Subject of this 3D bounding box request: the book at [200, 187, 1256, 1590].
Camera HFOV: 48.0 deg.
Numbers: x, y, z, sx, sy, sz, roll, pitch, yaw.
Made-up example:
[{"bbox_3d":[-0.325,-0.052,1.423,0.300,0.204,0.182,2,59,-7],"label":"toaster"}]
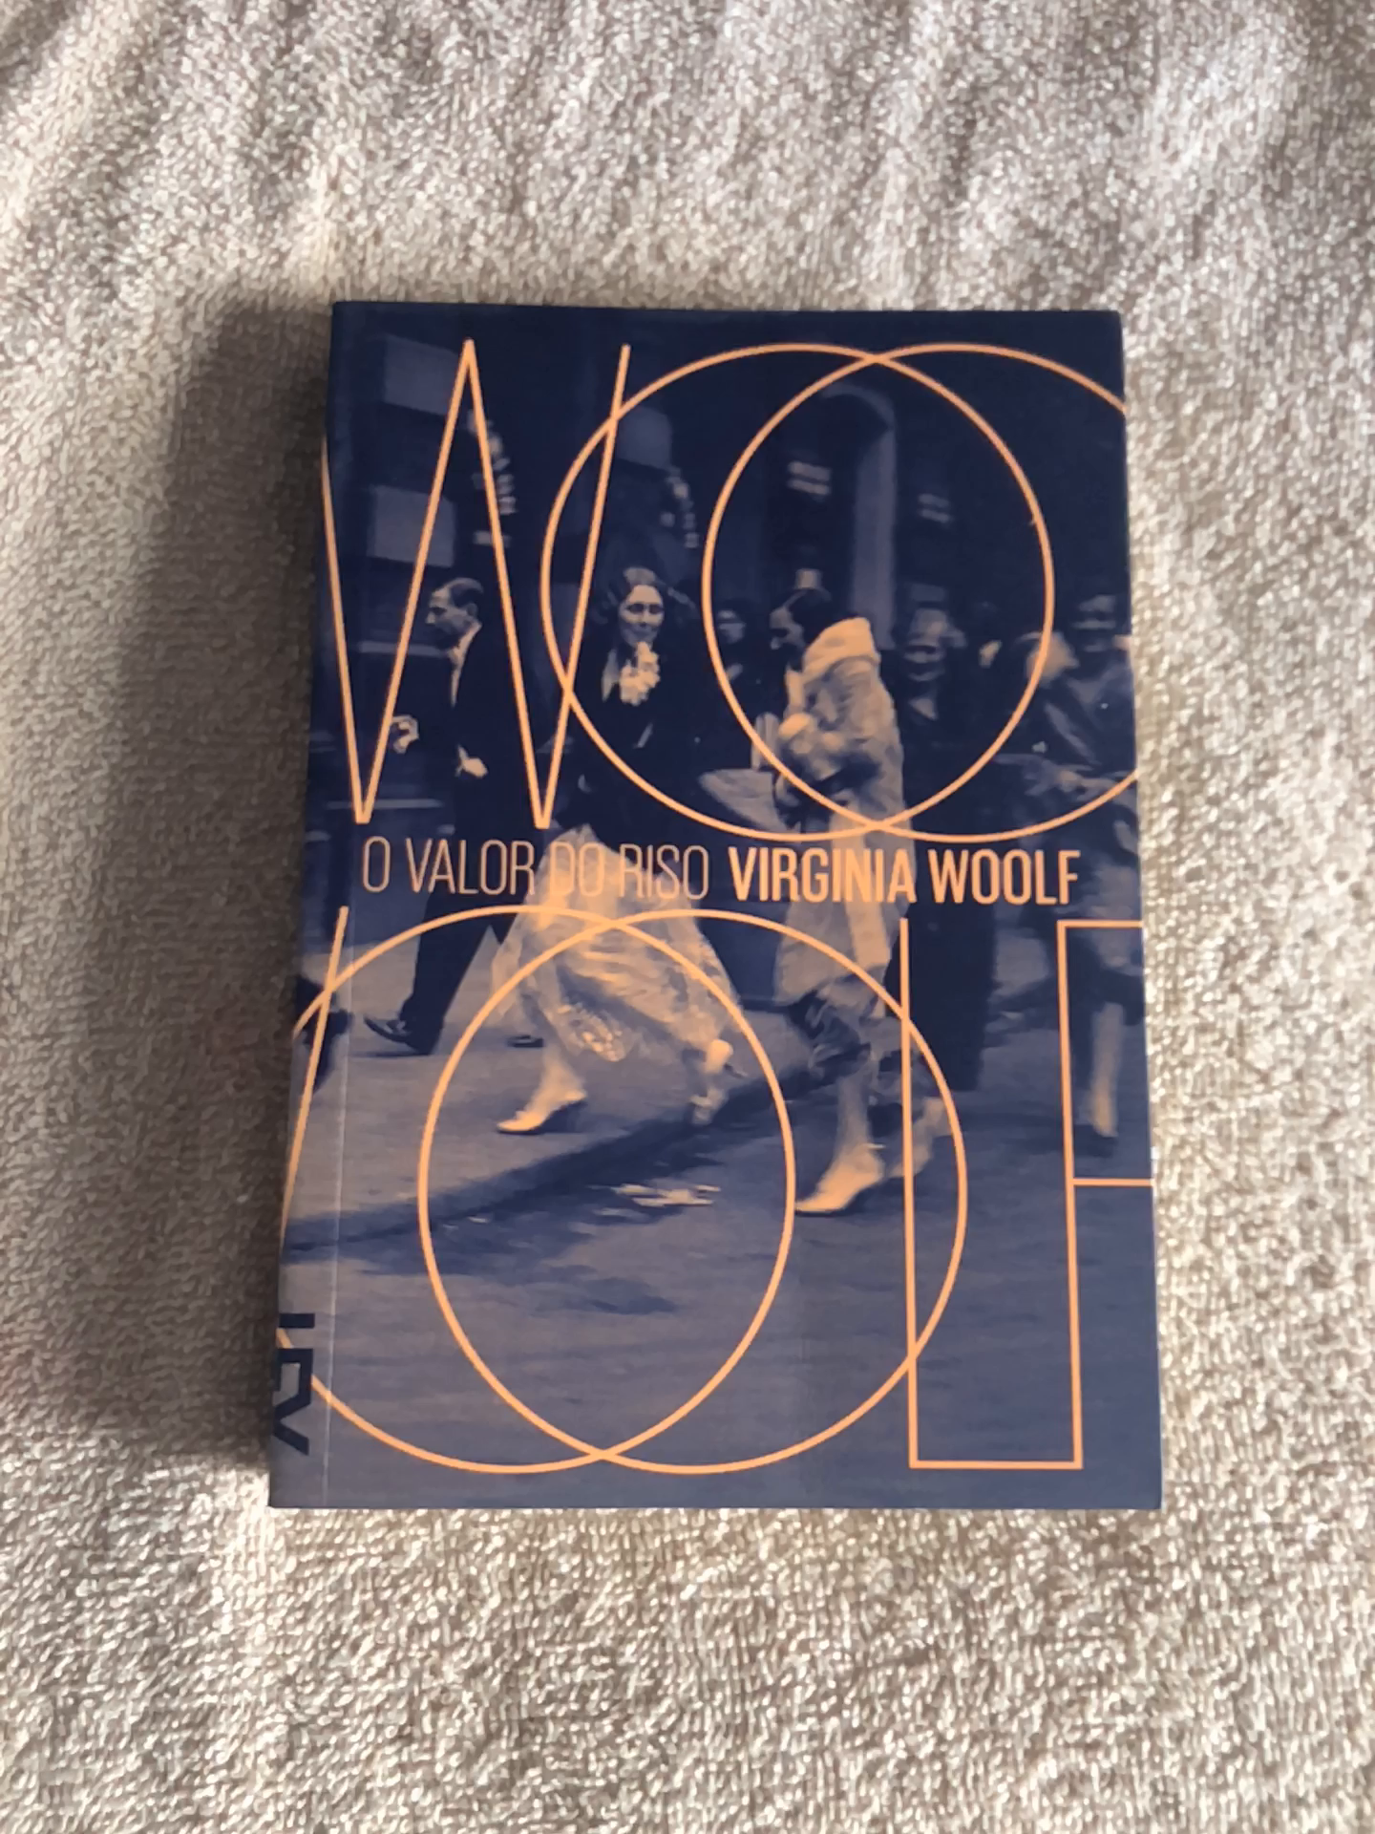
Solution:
[{"bbox_3d":[0.007,-0.004,0.239,0.140,0.050,0.190,2,83,-6],"label":"book"}]
